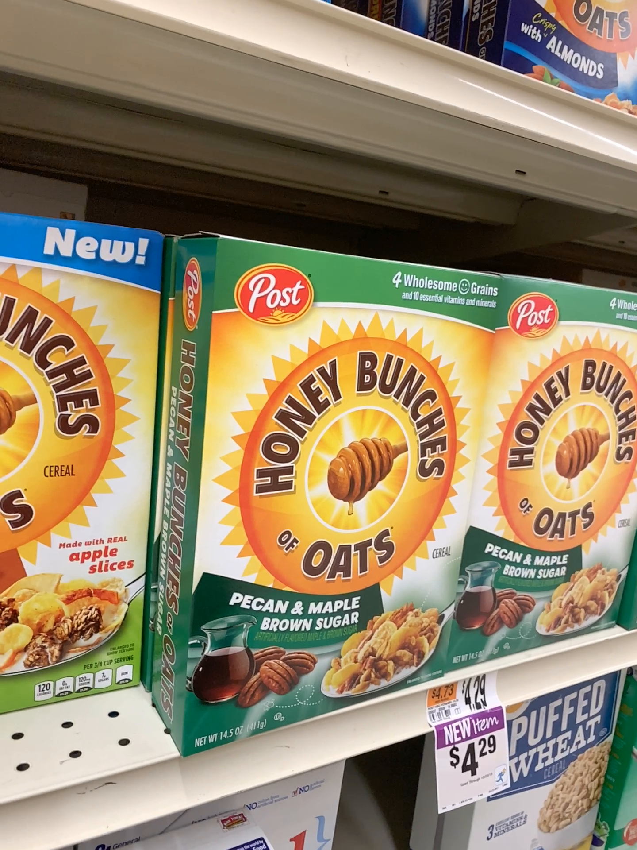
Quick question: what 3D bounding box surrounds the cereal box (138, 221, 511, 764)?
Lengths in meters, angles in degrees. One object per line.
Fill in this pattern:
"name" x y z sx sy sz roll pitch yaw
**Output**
"cereal box" 0.005 0.035 0.402 0.200 0.279 0.060 -1 13 -34
